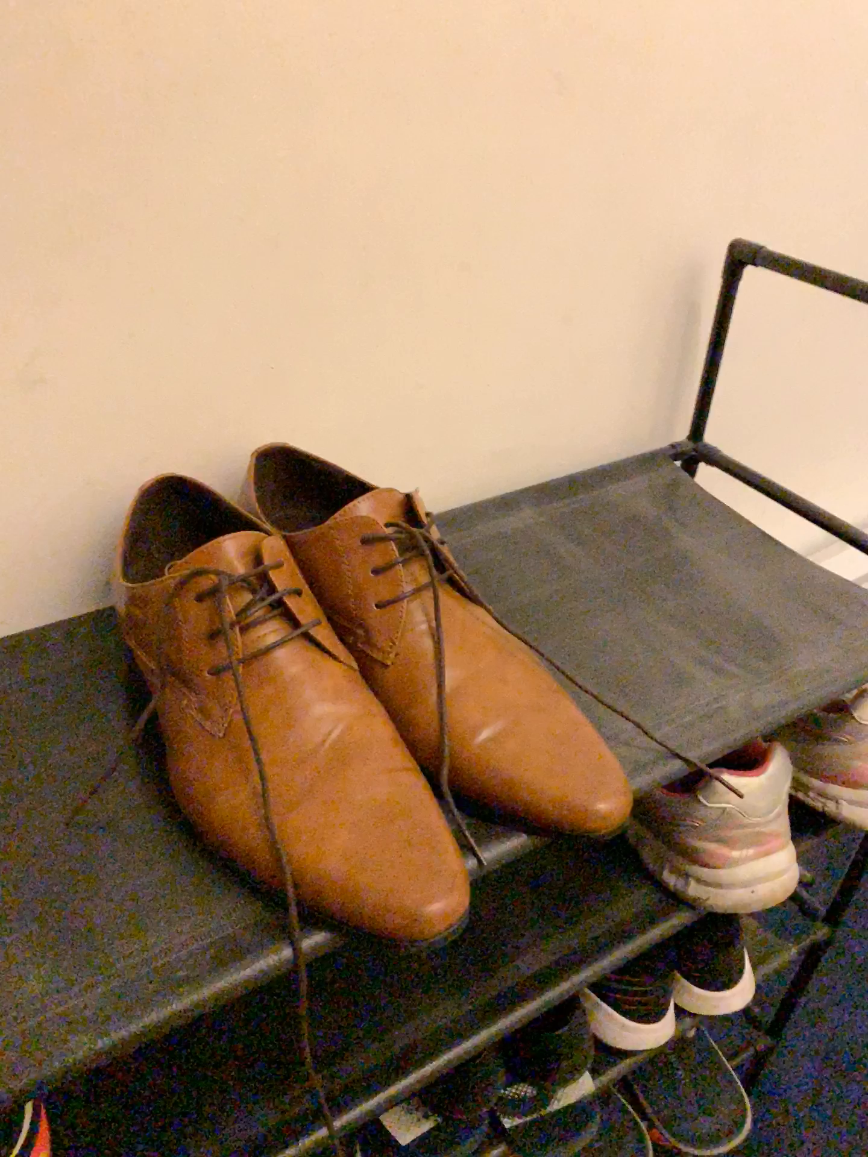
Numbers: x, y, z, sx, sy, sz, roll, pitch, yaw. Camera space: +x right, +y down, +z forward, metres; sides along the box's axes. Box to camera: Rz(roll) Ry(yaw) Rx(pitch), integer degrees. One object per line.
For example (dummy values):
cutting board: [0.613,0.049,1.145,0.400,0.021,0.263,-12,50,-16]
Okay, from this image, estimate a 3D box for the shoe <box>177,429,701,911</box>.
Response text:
shoe: [-0.017,0.025,0.494,0.100,0.099,0.301,-25,42,-34]

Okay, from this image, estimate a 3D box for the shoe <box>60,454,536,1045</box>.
shoe: [-0.086,0.052,0.444,0.100,0.099,0.302,-19,39,-28]
